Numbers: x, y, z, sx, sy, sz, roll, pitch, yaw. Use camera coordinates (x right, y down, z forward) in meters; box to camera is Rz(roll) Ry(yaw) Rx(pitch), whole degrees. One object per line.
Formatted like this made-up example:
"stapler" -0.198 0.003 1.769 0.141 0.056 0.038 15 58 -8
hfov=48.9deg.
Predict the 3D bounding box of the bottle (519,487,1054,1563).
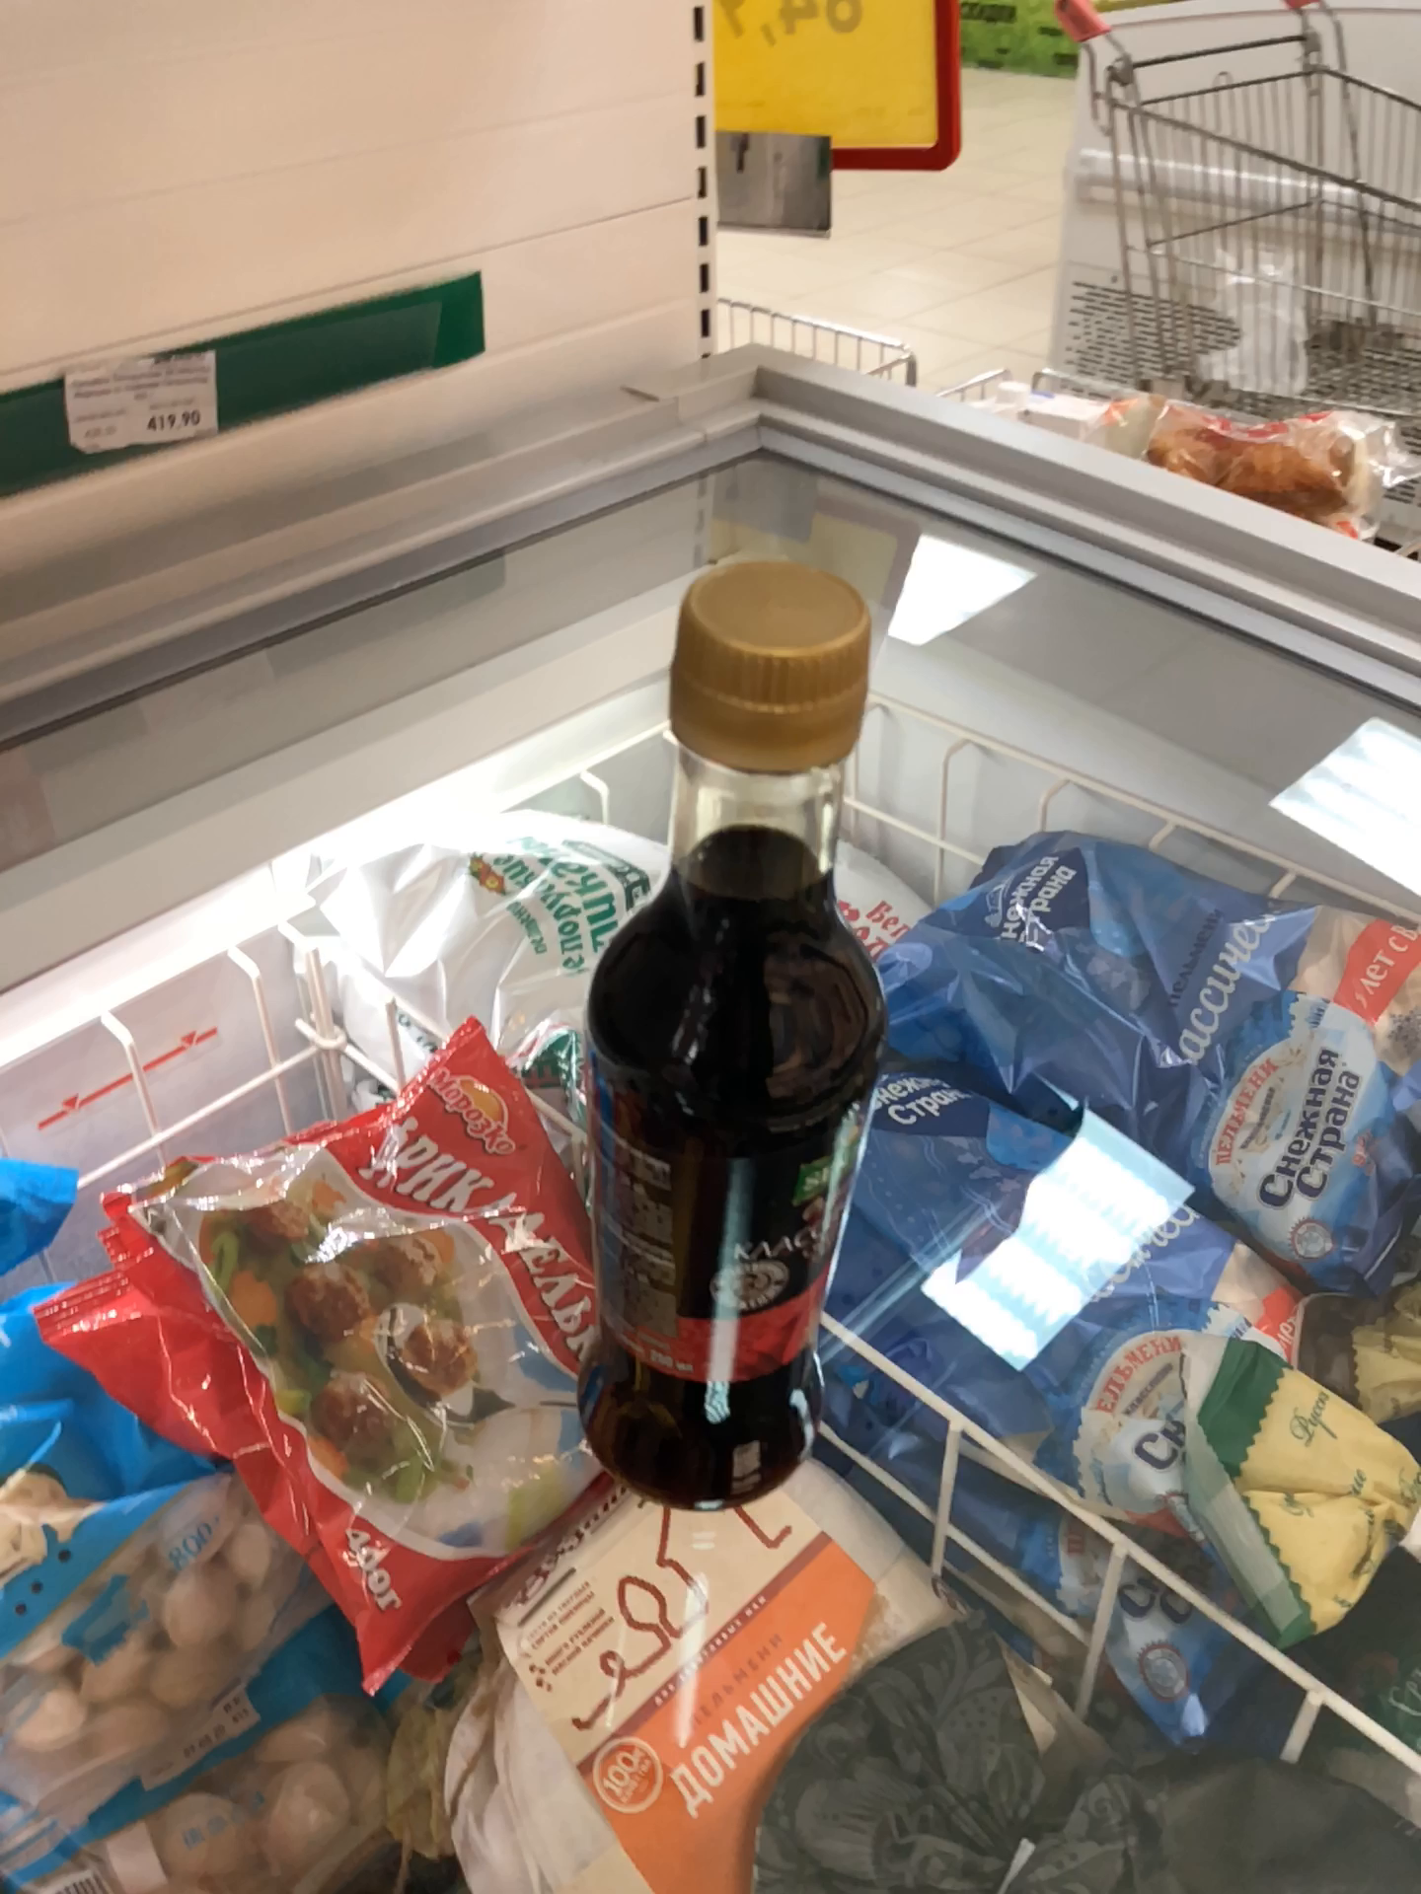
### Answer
"bottle" 0.006 0.025 0.286 0.060 0.192 0.058 3 39 -3
